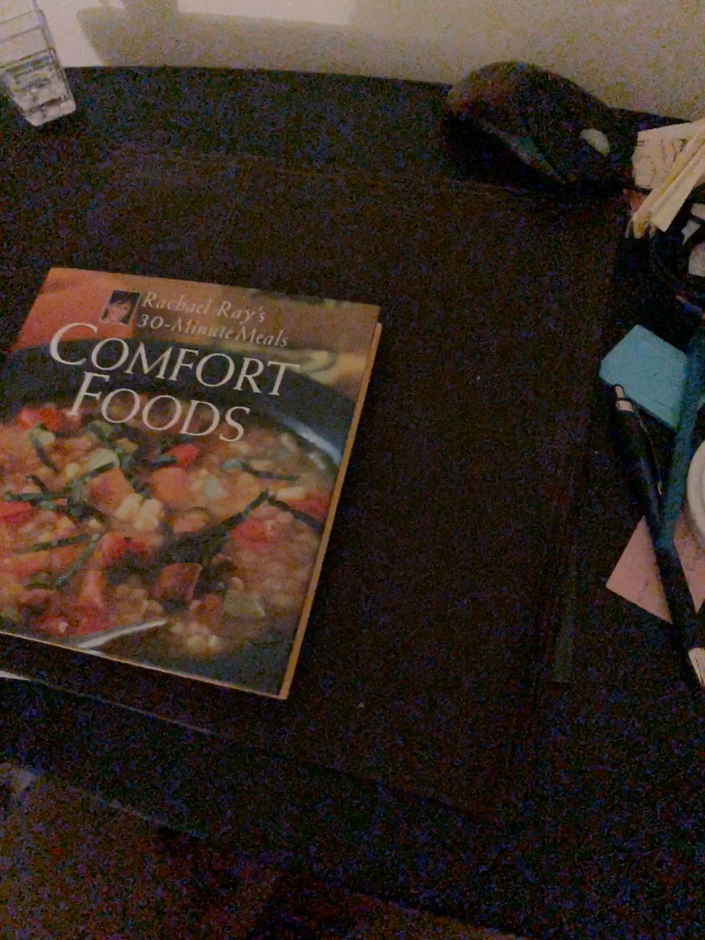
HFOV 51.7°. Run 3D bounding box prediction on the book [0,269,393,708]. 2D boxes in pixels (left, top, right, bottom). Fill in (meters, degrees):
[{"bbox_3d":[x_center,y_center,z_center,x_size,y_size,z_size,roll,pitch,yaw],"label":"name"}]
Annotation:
[{"bbox_3d":[-0.099,-0.006,0.365,0.200,0.020,0.200,9,66,13],"label":"book"}]
